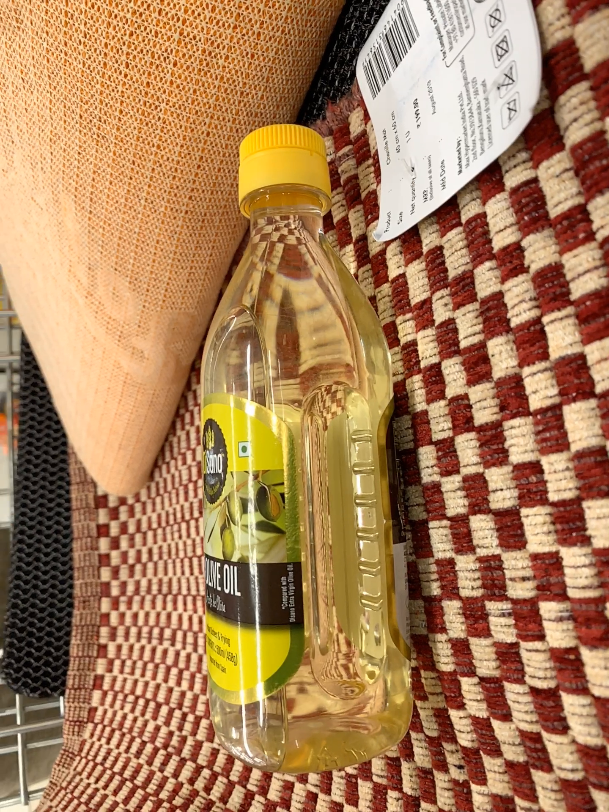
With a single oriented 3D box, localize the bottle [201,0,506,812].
[{"bbox_3d":[0.010,-0.002,0.212,0.070,0.060,0.230,-14,78,62],"label":"bottle"}]
